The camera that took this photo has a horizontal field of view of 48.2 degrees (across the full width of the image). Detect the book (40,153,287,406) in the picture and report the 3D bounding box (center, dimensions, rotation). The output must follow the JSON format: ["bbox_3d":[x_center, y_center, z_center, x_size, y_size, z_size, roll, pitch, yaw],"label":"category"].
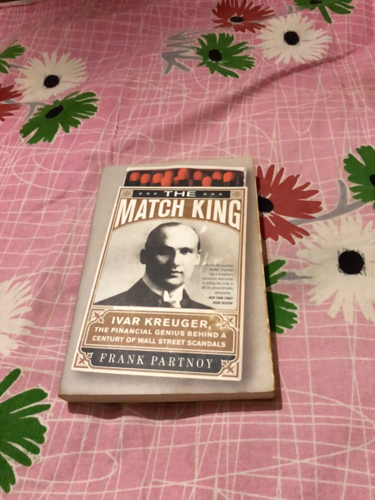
[{"bbox_3d":[-0.013,0.007,0.359,0.160,0.030,0.241,-2,49,5],"label":"book"}]
